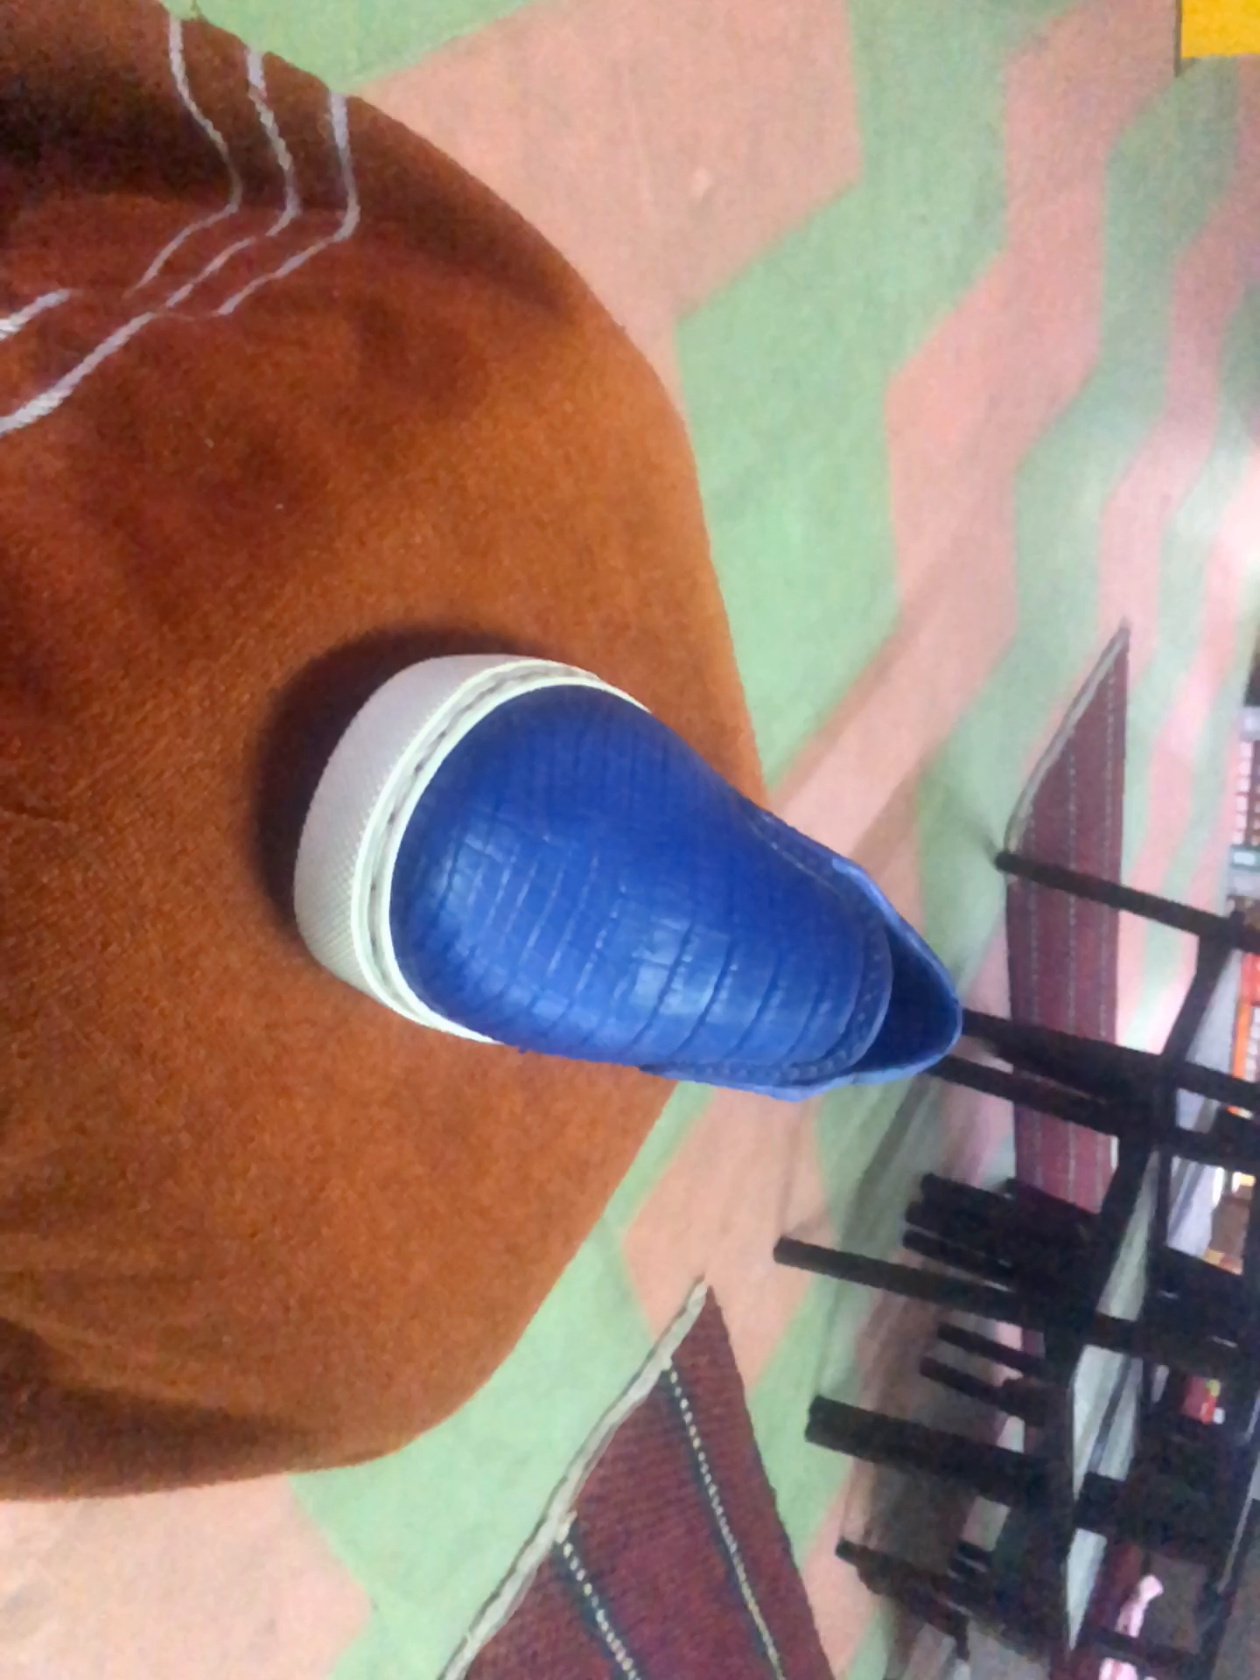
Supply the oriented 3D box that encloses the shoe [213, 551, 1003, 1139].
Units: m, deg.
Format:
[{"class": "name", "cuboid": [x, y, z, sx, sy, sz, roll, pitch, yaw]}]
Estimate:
[{"class": "shoe", "cuboid": [0.026, 0.024, 0.429, 0.303, 0.079, 0.110, 23, 82, -59]}]
